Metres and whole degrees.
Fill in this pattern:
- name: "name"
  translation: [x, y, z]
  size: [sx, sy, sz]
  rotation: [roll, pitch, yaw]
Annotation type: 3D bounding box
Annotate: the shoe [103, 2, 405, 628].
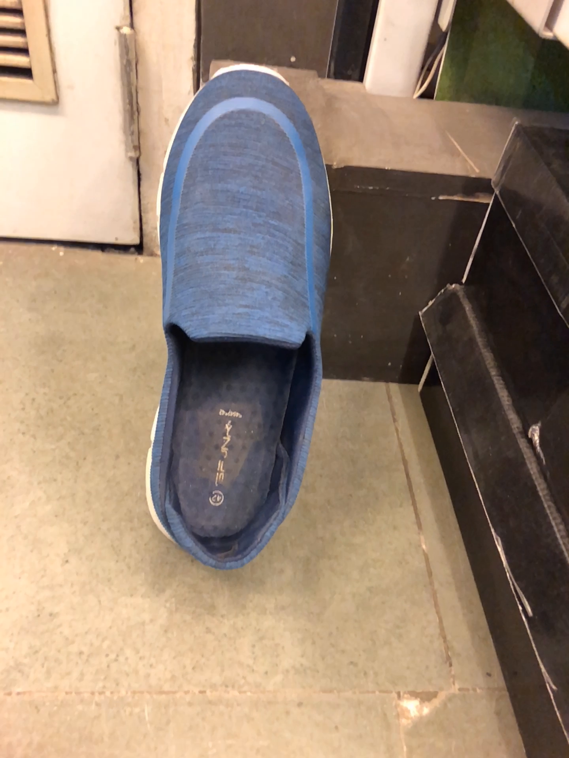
- name: "shoe"
  translation: [-0.019, -0.026, 0.332]
  size: [0.110, 0.272, 0.095]
  rotation: [6, 0, -9]
